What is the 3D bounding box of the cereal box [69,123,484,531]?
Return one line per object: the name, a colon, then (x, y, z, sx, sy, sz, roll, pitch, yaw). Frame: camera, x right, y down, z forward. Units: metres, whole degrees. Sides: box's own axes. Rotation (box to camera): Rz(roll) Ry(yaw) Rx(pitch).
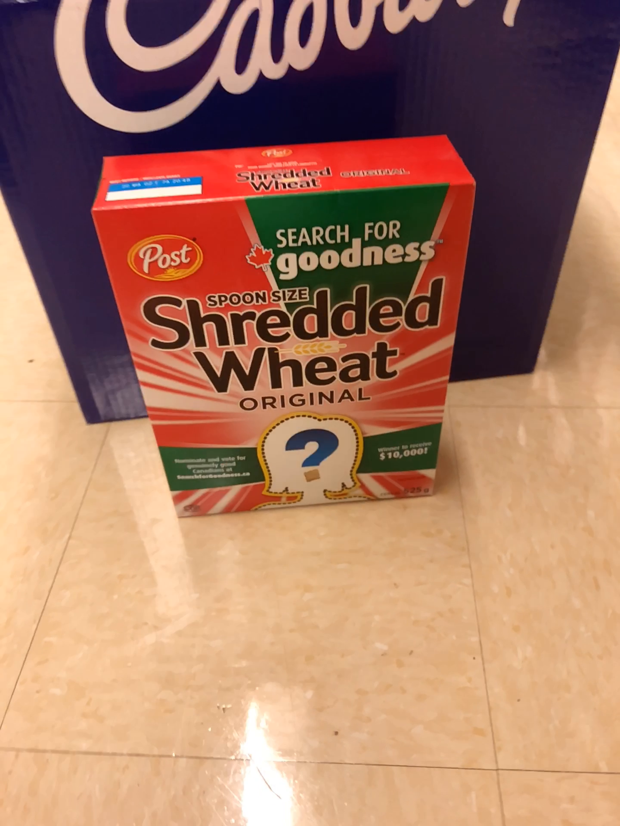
cereal box: (-0.013, -0.039, 0.464, 0.210, 0.268, 0.070, -6, 44, -2)
